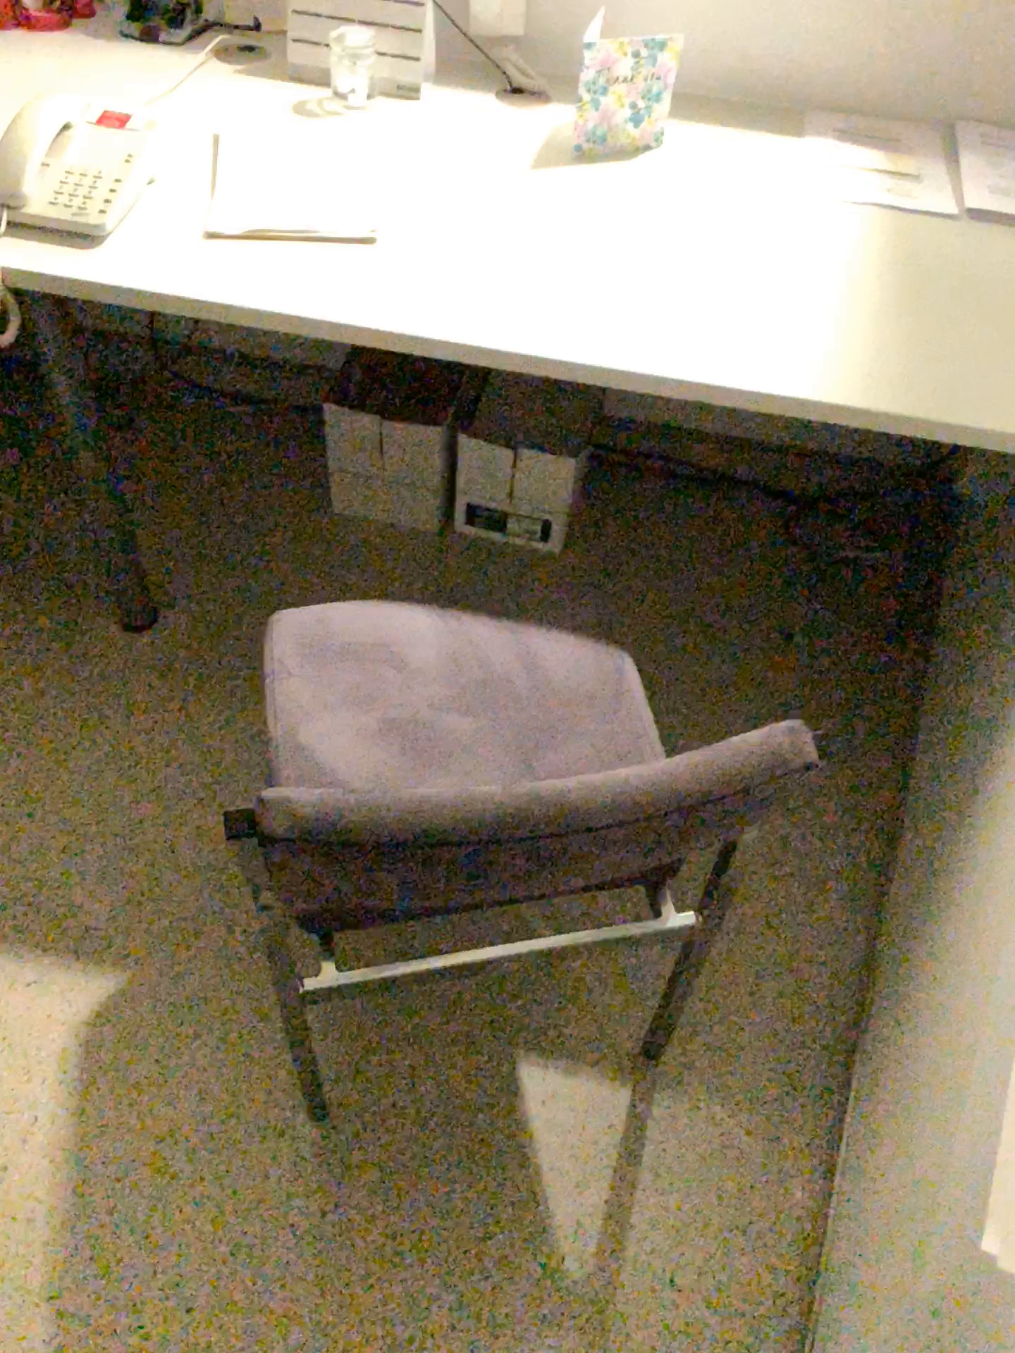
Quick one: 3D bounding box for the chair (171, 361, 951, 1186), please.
[{"bbox_3d":[-0.019,0.122,1.133,0.540,0.694,0.544,-5,50,-10],"label":"chair"}]
